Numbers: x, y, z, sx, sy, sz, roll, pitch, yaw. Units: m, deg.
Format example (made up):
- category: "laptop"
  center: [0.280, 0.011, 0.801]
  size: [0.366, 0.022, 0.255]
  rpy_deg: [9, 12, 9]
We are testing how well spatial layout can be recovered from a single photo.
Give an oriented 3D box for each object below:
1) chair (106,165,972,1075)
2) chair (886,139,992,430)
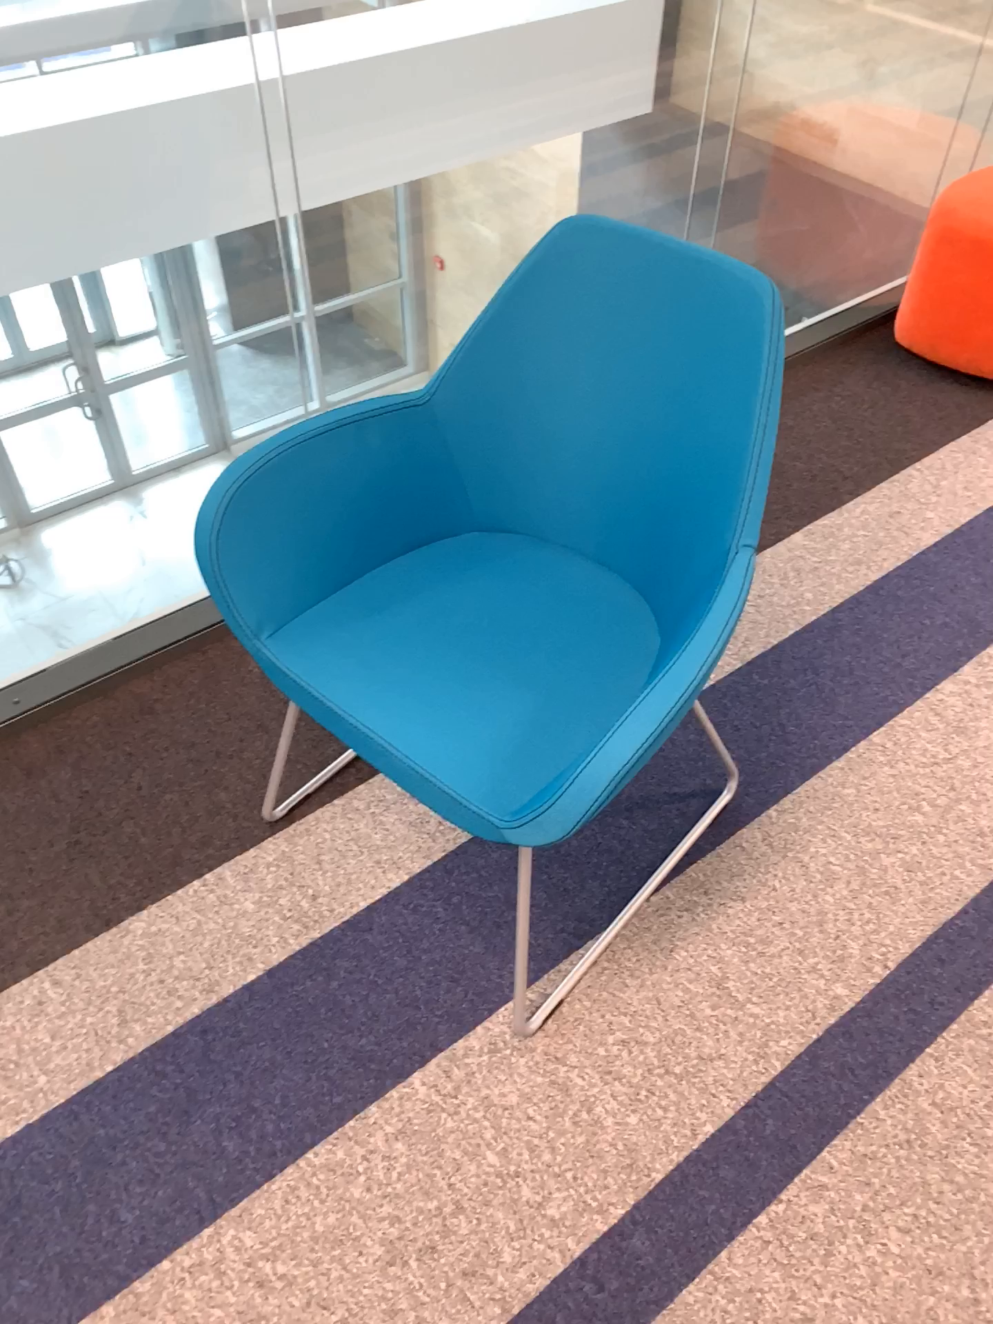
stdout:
- category: "chair"
  center: [0.049, -0.066, 1.393]
  size: [0.672, 0.836, 0.652]
  rpy_deg: [33, 55, 27]
- category: "chair"
  center: [1.587, -1.076, 2.815]
  size: [0.641, 0.396, 0.652]
  rpy_deg: [33, 55, 27]
